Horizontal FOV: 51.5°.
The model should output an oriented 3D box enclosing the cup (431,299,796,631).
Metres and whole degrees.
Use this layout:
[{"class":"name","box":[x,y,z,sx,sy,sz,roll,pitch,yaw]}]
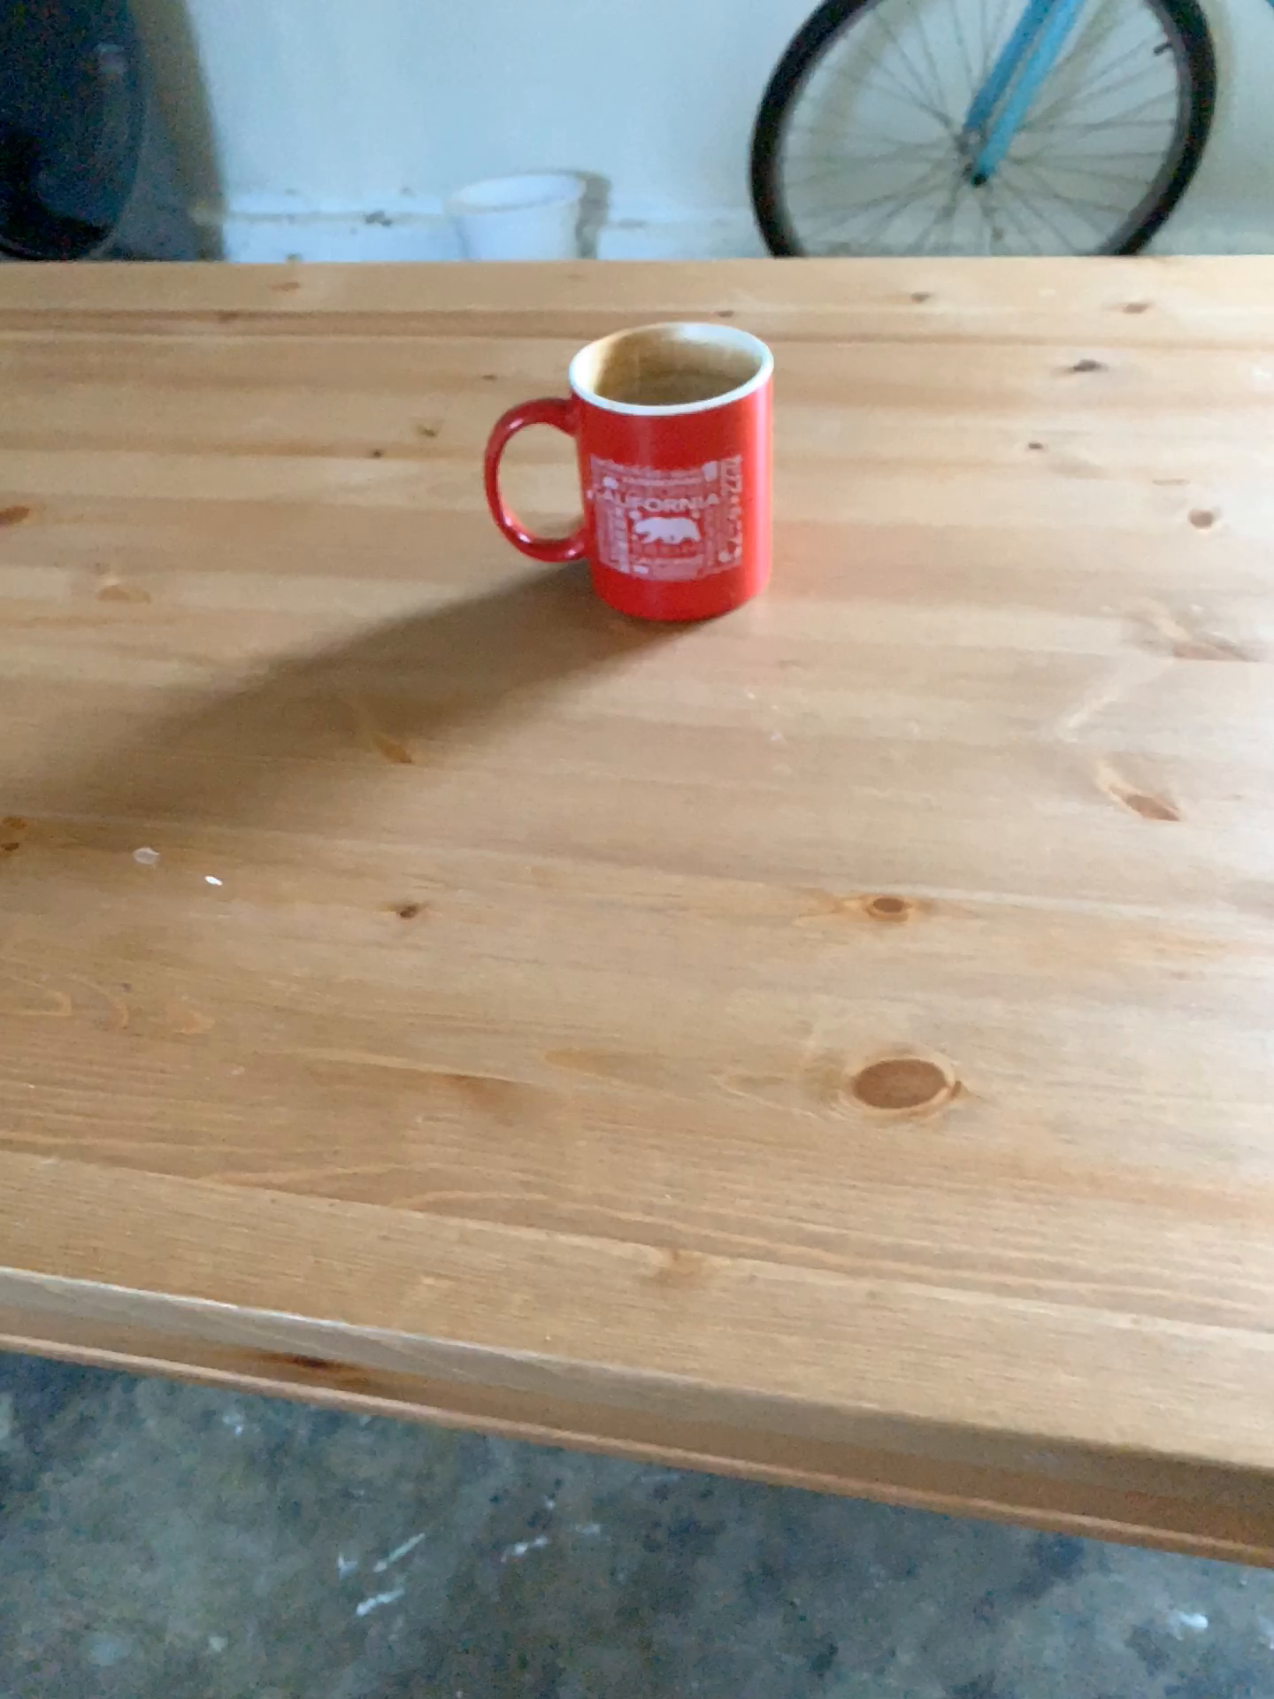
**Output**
[{"class":"cup","box":[-0.002,-0.161,0.554,0.130,0.100,0.090,3,45,10]}]
